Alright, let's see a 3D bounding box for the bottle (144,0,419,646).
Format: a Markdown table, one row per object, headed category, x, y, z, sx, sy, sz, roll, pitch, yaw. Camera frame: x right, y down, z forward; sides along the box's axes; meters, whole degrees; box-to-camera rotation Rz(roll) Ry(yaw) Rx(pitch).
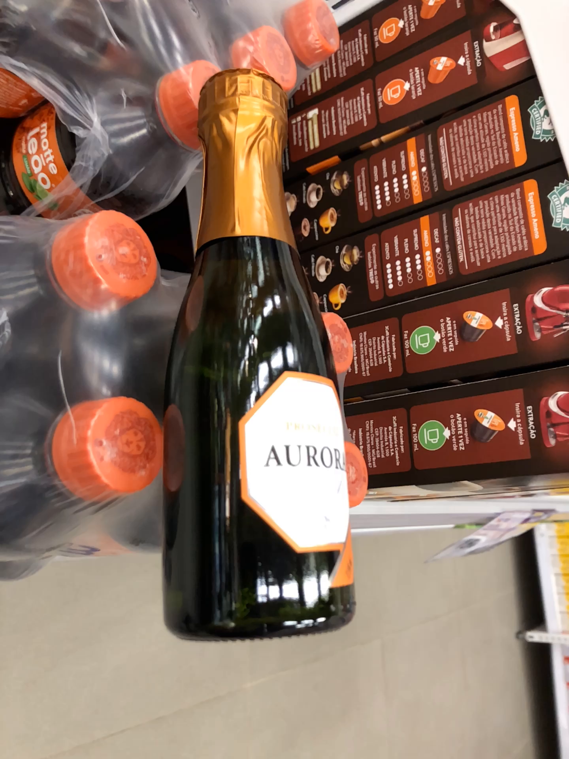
| category | x | y | z | sx | sy | sz | roll | pitch | yaw |
| --- | --- | --- | --- | --- | --- | --- | --- | --- | --- |
| bottle | 0.001 | -0.021 | 0.196 | 0.060 | 0.050 | 0.180 | 17 | 68 | -51 |
